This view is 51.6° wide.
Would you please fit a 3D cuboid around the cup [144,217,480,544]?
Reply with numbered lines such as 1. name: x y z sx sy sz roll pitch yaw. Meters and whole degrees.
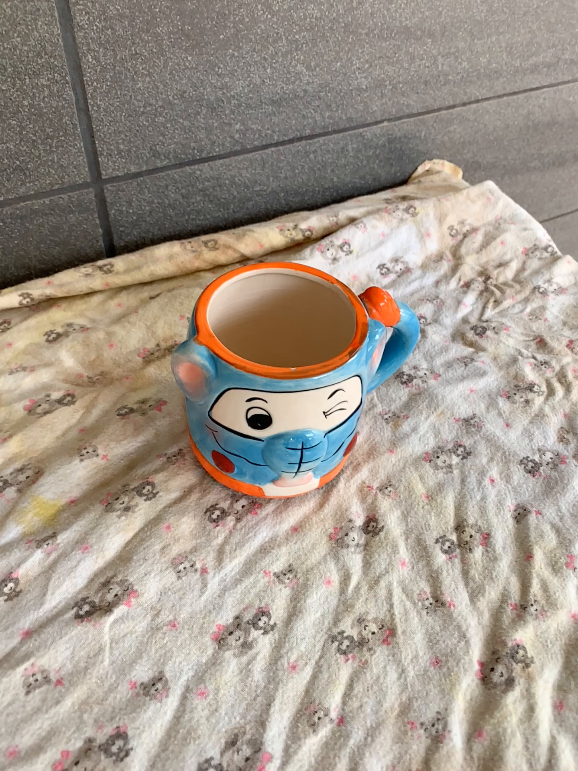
1. cup: 0.004 -0.006 0.277 0.110 0.090 0.090 -16 50 -18
